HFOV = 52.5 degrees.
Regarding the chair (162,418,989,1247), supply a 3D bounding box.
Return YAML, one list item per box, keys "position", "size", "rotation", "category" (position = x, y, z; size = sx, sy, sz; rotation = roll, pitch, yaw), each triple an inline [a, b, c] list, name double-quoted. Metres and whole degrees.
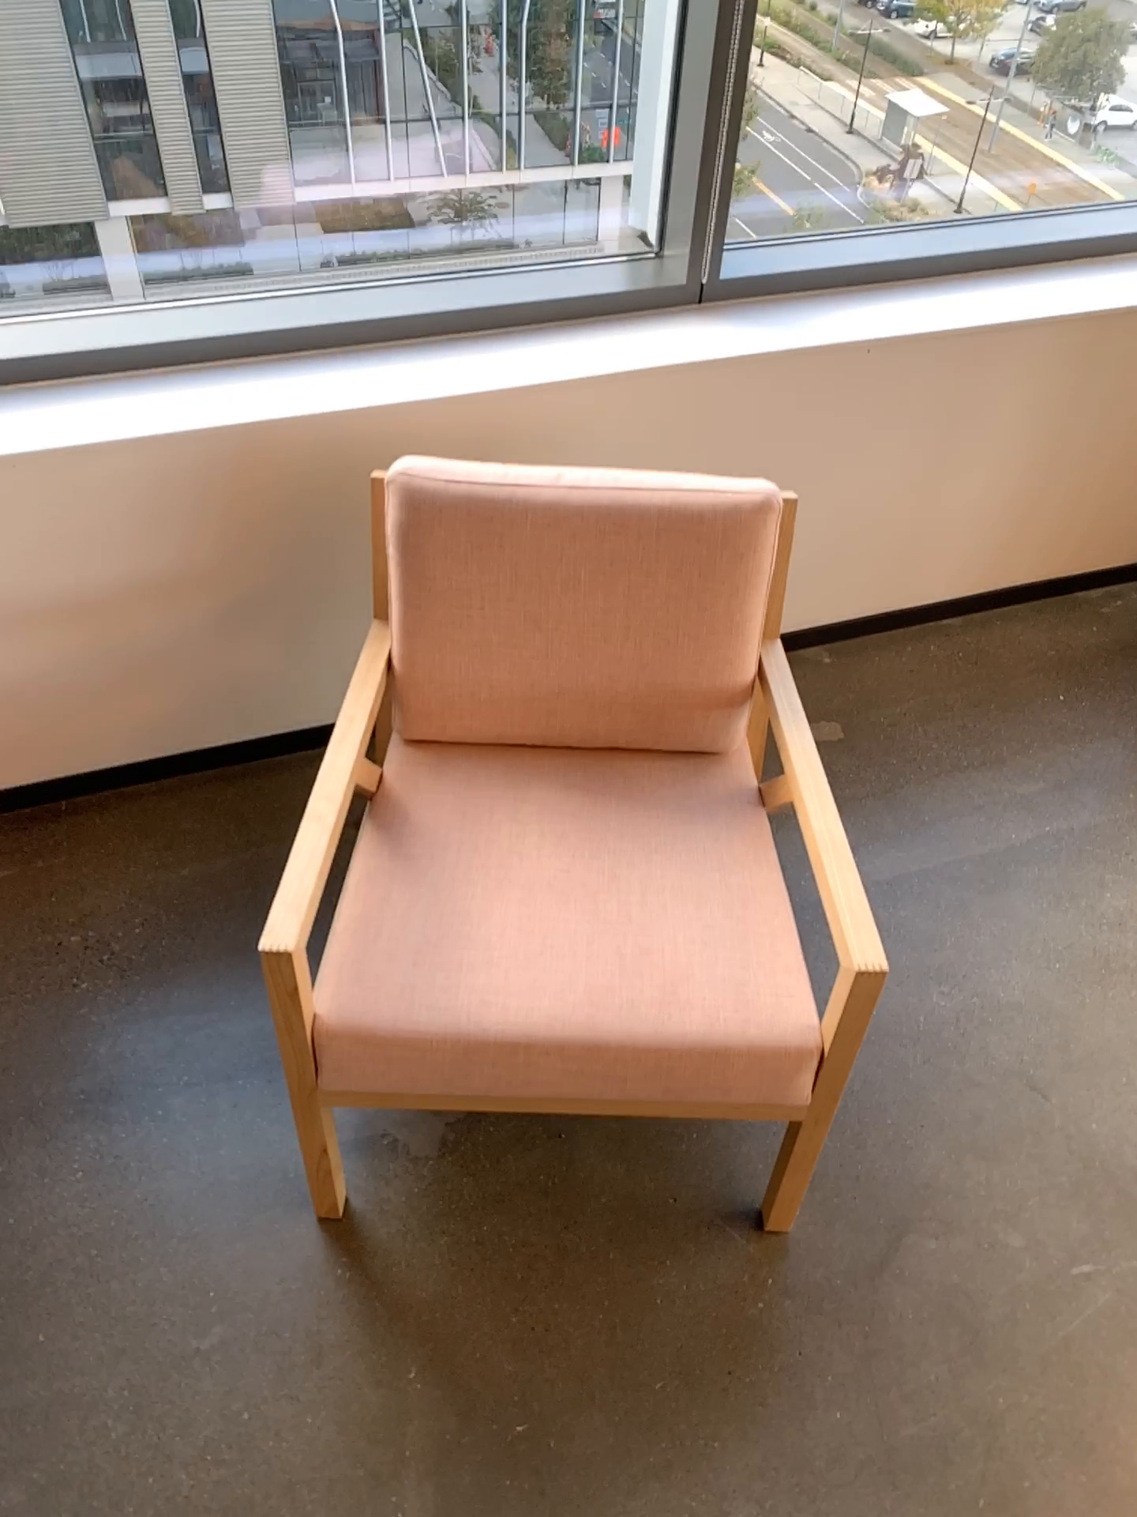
- position: [0.000, 0.105, 1.585]
  size: [0.740, 0.796, 0.774]
  rotation: [2, 45, -1]
  category: "chair"
